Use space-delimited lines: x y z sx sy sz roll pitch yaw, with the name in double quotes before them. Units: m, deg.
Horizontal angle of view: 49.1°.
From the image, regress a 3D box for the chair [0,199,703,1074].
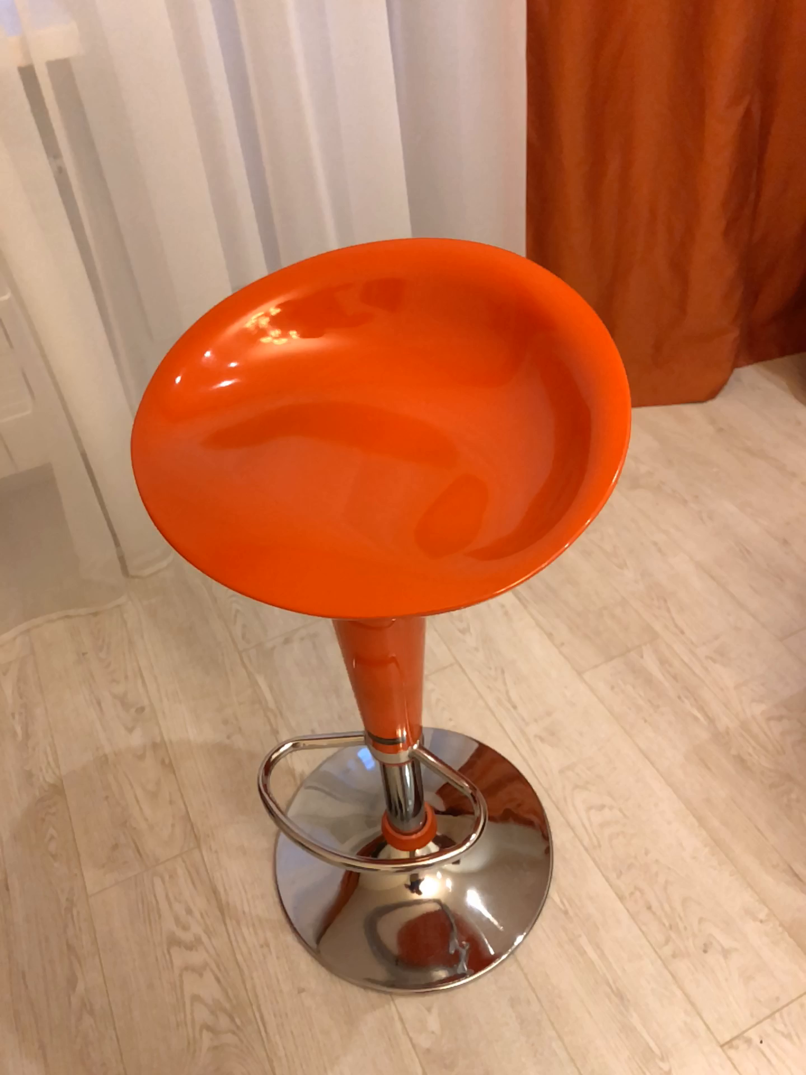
"chair" -0.011 0.133 0.858 0.400 0.735 0.392 15 47 22
